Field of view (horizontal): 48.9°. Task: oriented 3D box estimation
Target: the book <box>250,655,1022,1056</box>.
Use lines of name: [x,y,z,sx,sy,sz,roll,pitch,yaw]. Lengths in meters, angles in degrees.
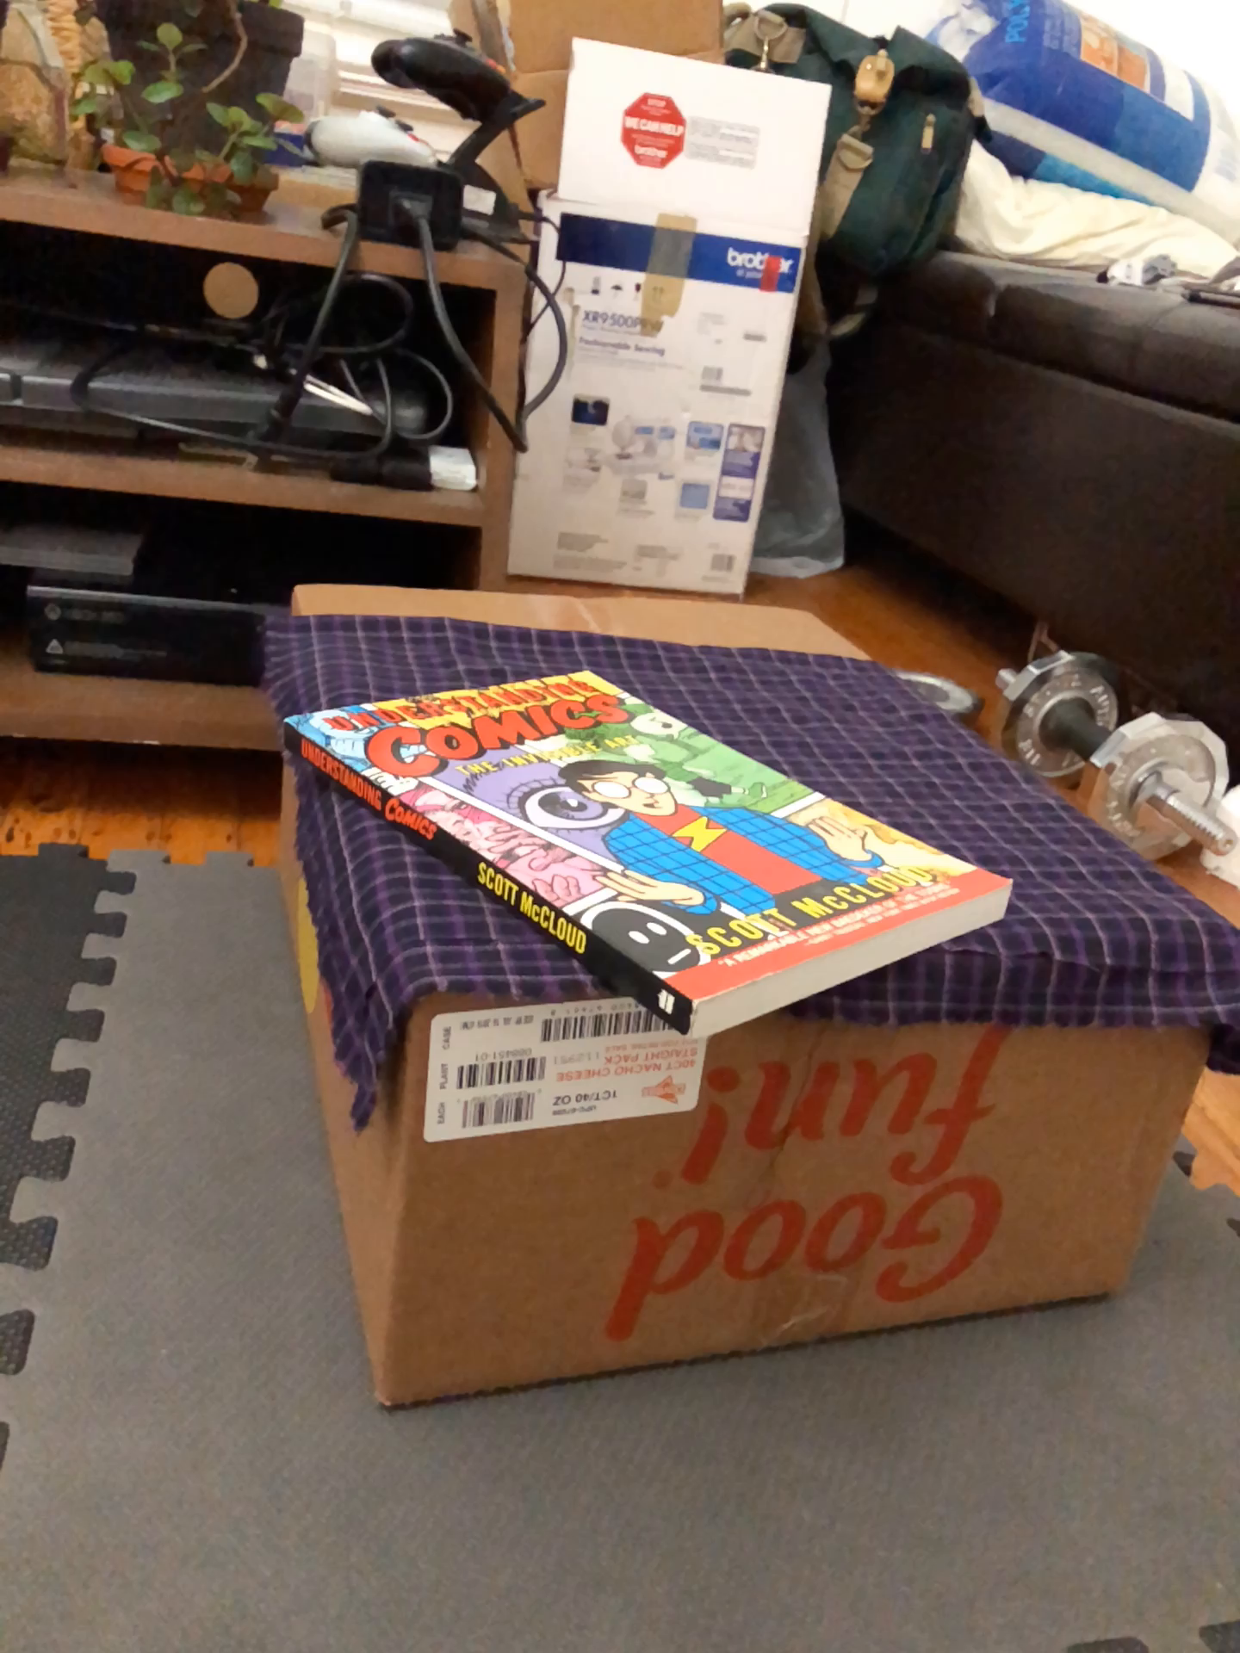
book: [-0.004,-0.009,0.542,0.170,0.020,0.271,-14,32,-40]
